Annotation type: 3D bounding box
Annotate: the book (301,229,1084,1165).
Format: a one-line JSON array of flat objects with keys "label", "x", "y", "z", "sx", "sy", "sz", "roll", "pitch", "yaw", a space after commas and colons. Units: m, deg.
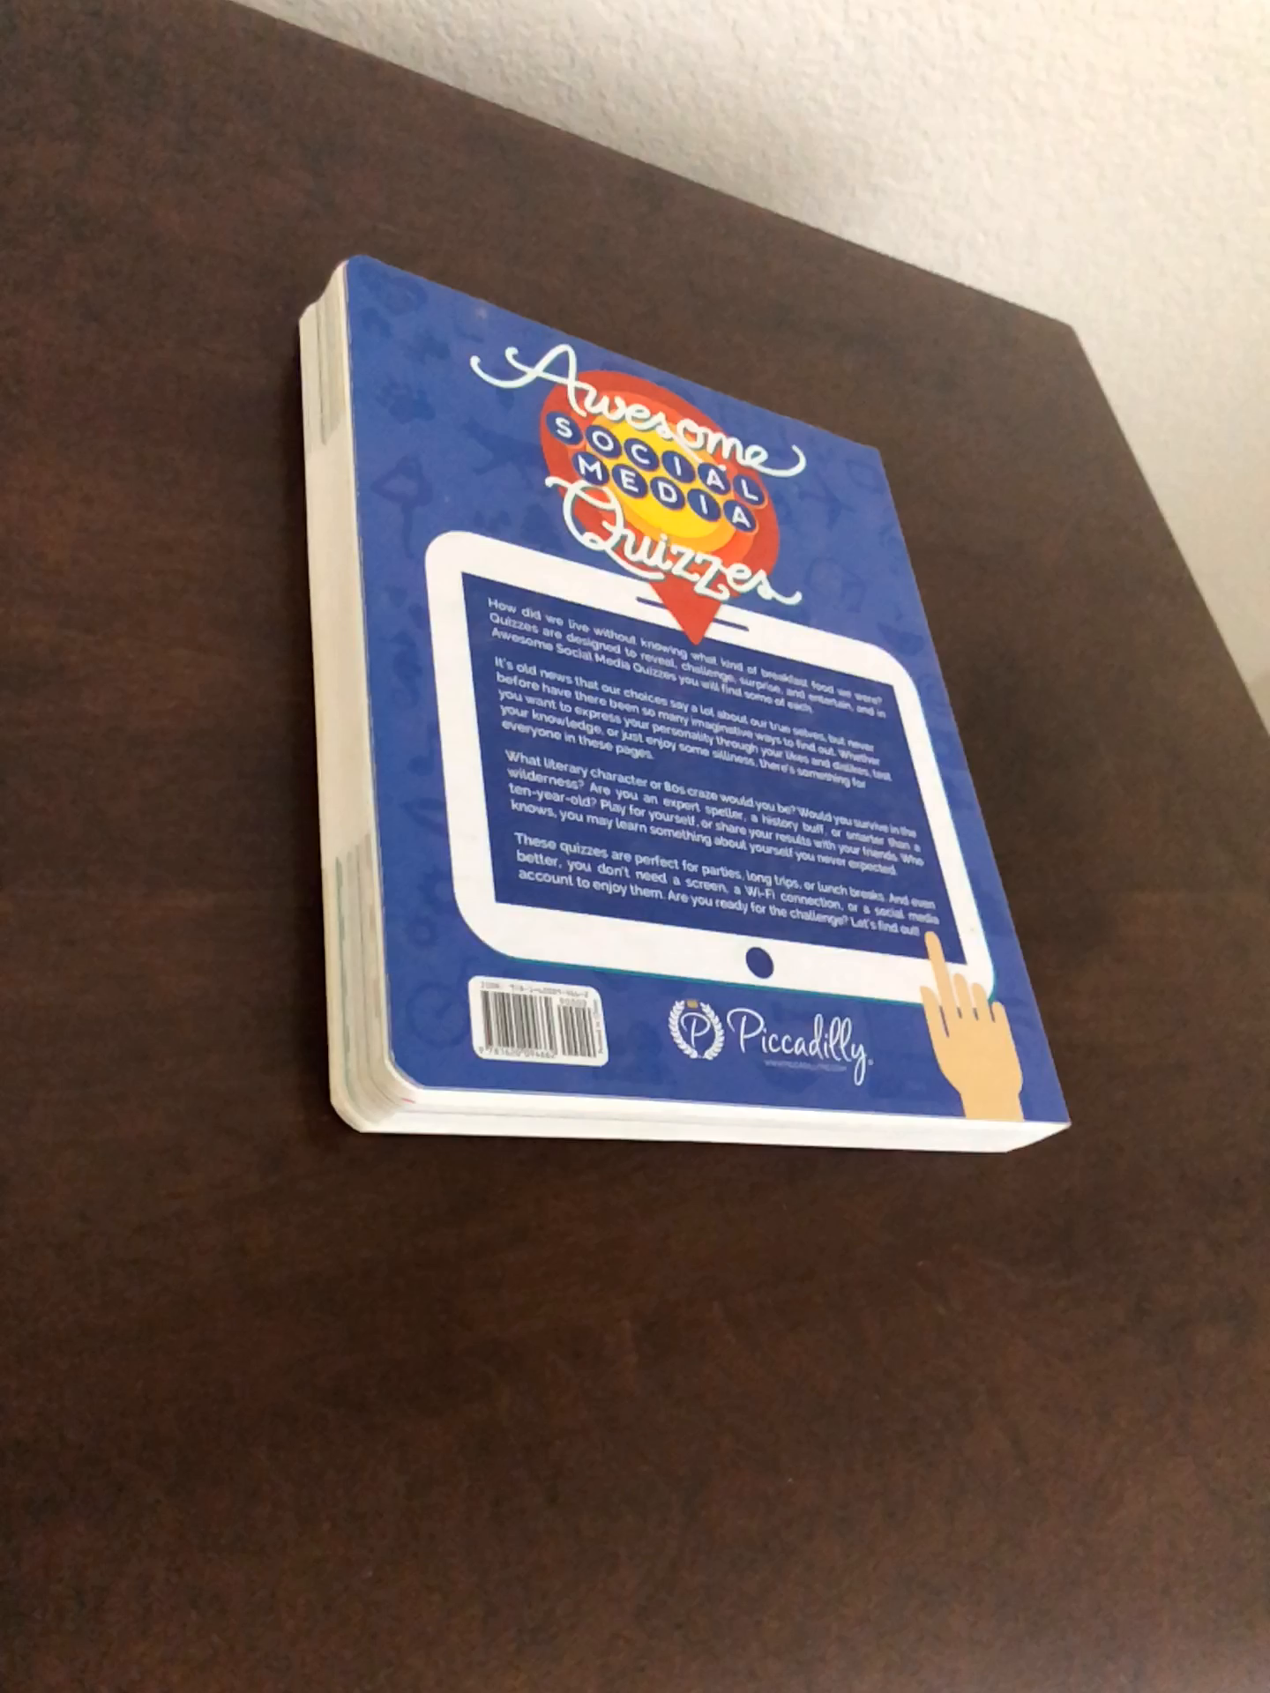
[{"label": "book", "x": 0.010, "y": -0.031, "z": 0.327, "sx": 0.166, "sy": 0.030, "sz": 0.201, "roll": 10, "pitch": 58, "yaw": -32}]
